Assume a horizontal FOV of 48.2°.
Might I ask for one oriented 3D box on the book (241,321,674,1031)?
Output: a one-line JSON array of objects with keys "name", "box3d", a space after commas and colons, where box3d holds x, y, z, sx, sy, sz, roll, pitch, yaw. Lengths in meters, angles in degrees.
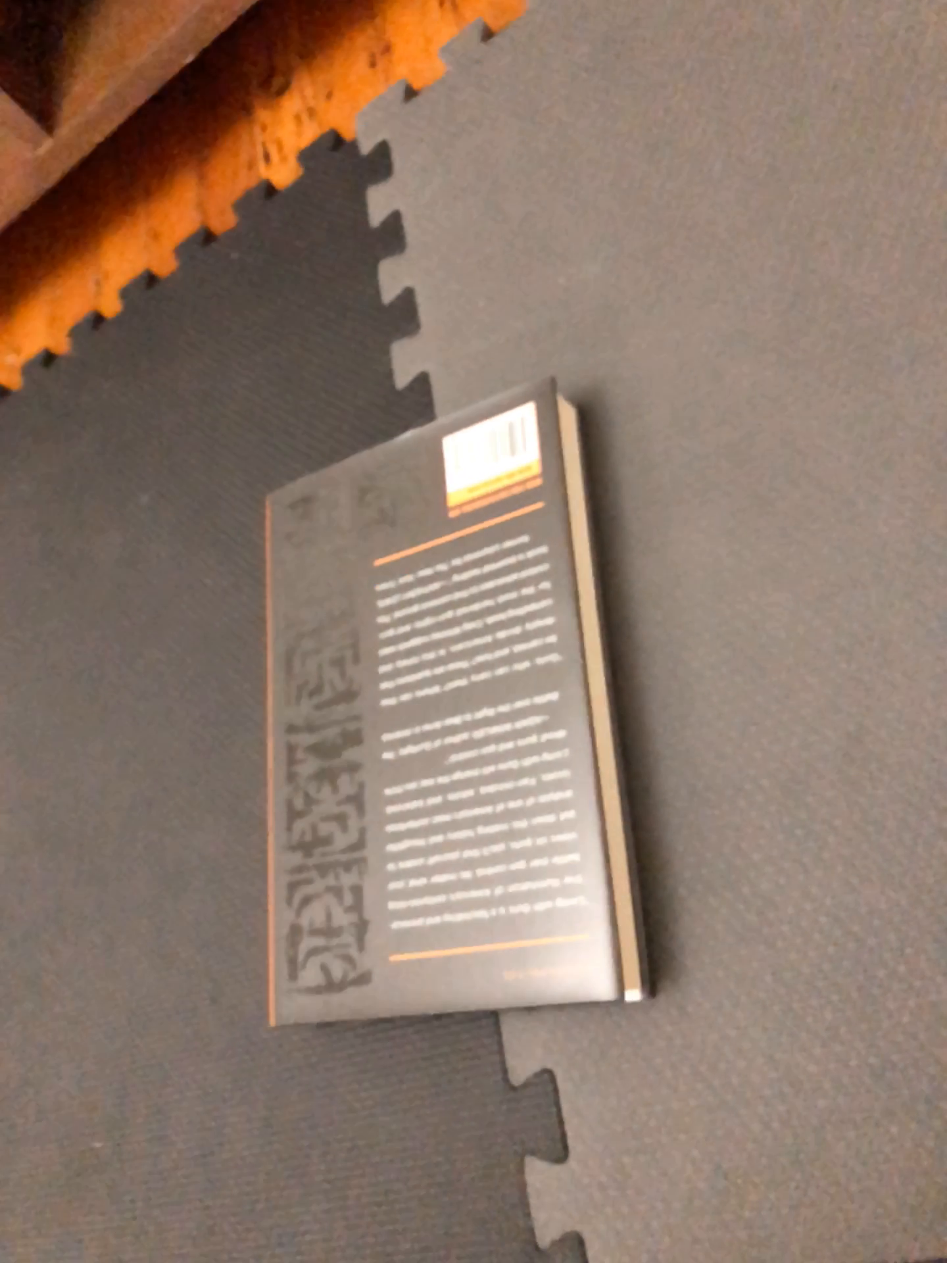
[{"name": "book", "box3d": [-0.018, 0.023, 0.439, 0.170, 0.040, 0.261, -16, 66, 32]}]
